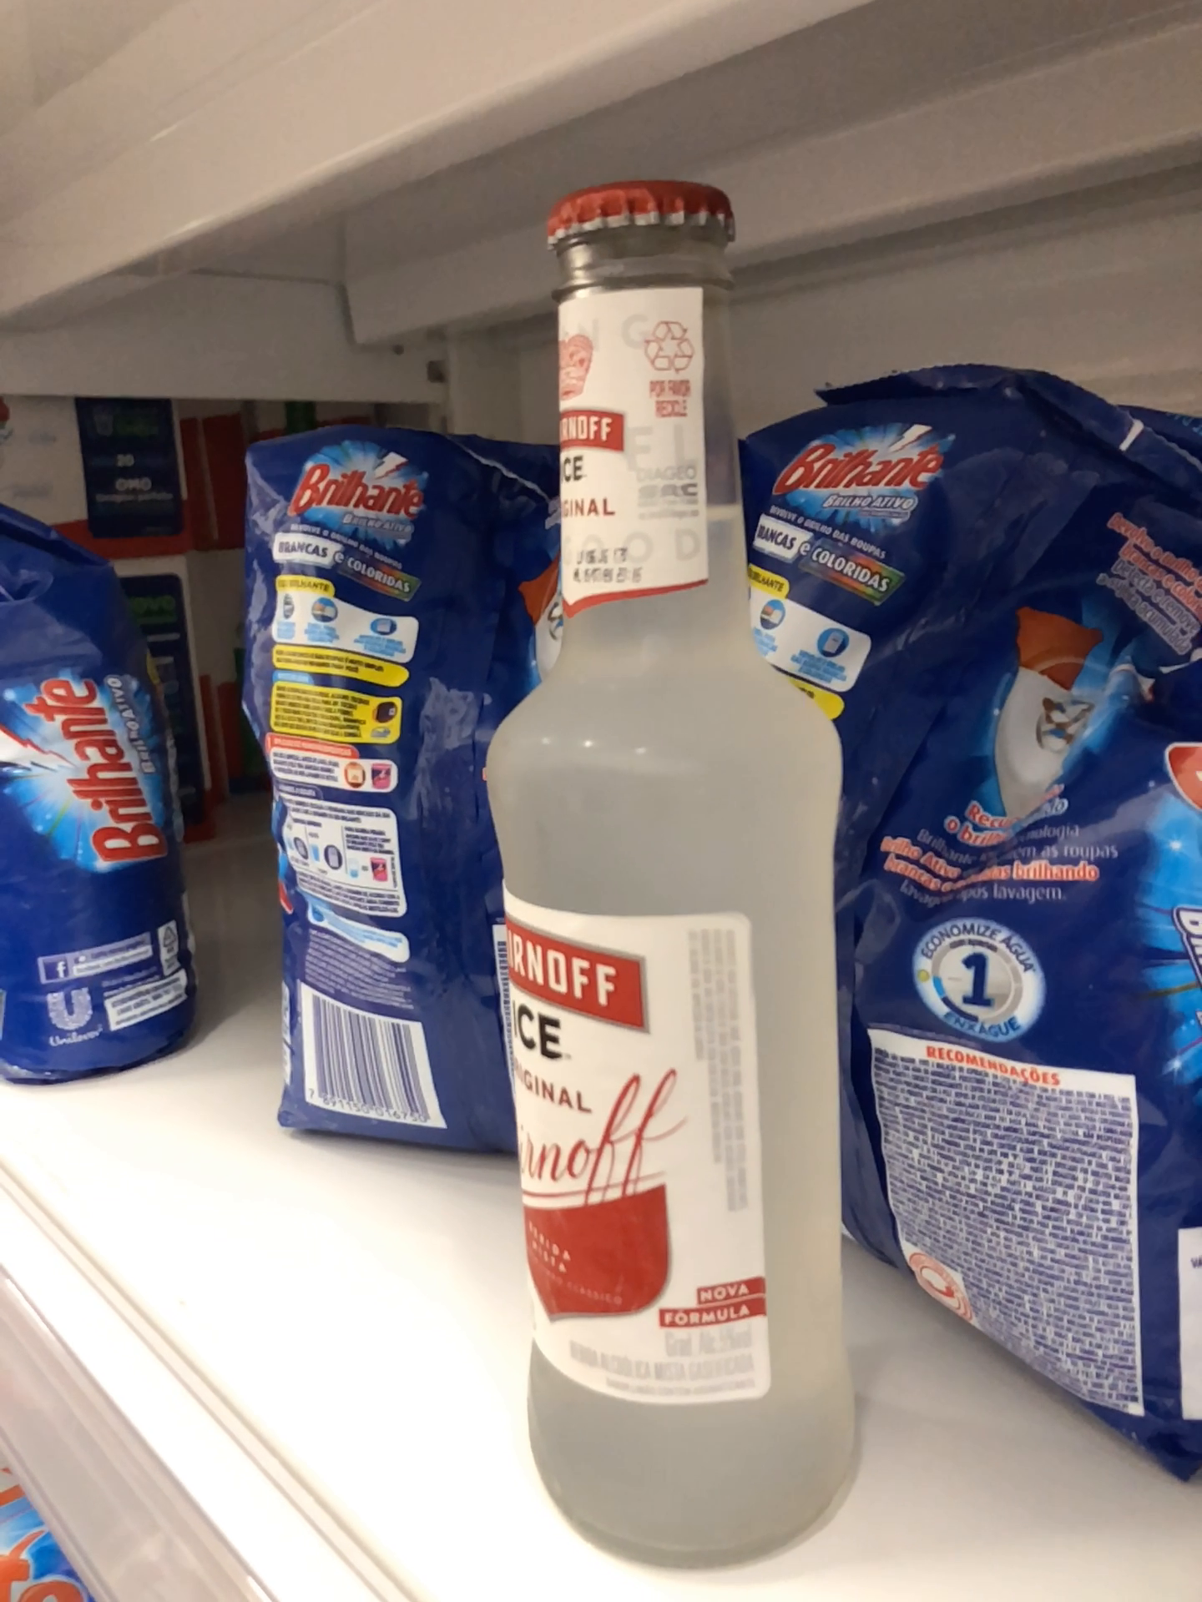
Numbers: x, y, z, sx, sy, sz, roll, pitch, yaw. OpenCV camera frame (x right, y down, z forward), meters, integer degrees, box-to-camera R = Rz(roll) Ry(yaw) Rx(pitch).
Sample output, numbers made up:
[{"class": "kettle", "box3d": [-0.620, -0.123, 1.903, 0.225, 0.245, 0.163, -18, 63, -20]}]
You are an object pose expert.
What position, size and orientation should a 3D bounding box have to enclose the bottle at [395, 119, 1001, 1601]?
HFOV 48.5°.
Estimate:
[{"class": "bottle", "box3d": [0.016, 0.014, 0.218, 0.060, 0.209, 0.070, -9, 13, -31]}]
